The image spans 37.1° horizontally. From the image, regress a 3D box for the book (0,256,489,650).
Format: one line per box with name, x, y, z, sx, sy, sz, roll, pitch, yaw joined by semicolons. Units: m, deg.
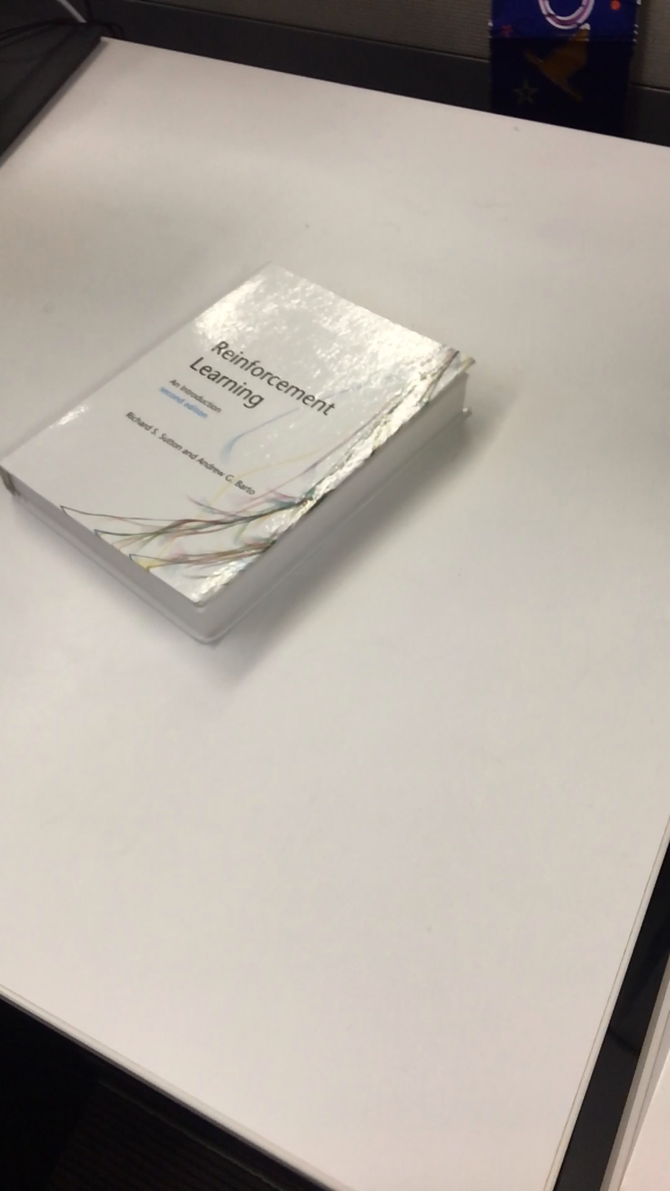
book;-0.053;-0.101;0.609;0.180;0.030;0.240;35;64;25
